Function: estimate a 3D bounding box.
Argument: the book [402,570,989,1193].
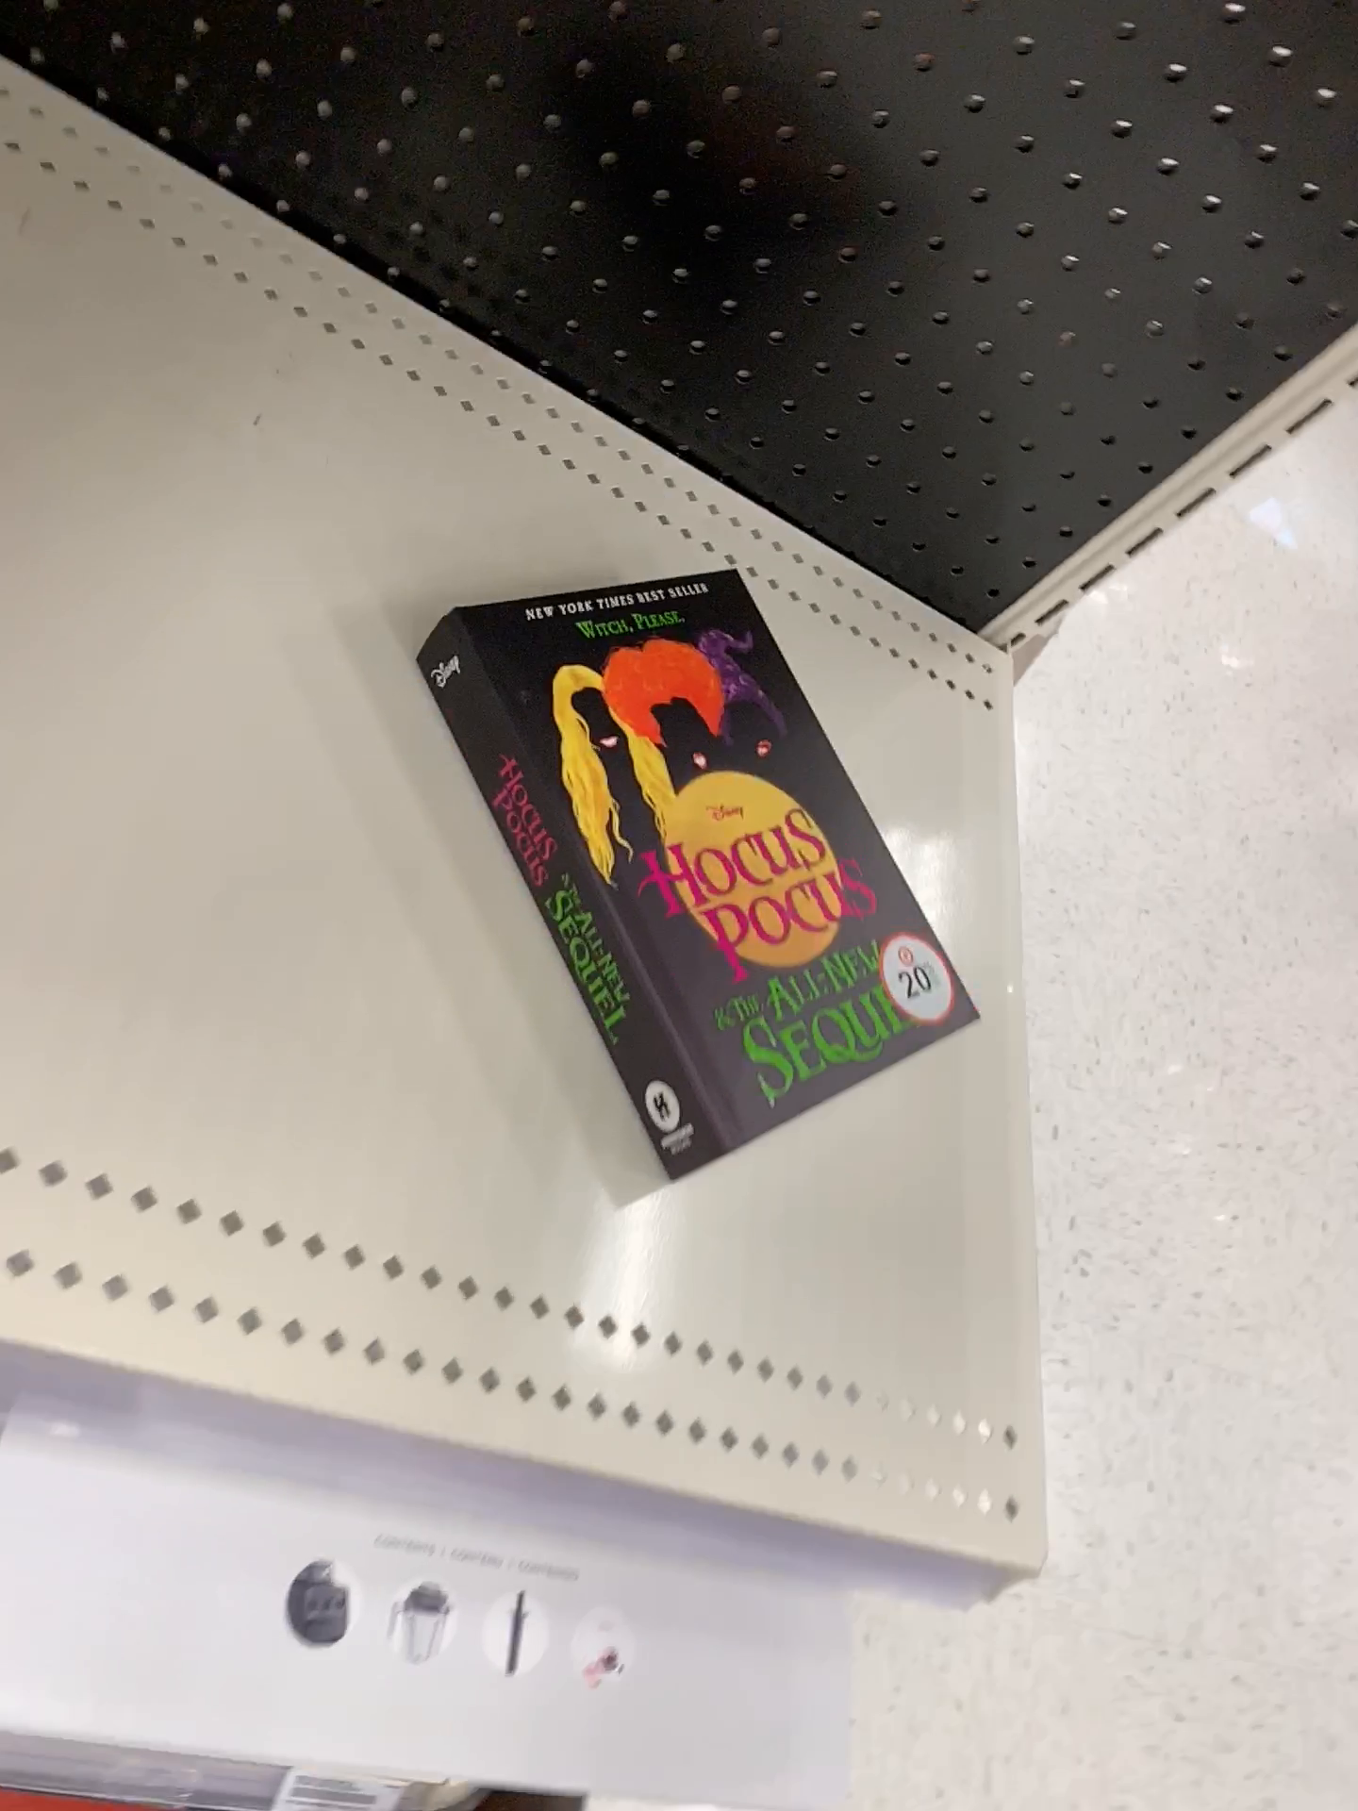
[{"bbox_3d":[0.010,-0.020,0.537,0.149,0.050,0.209,-20,78,-42],"label":"book"}]
